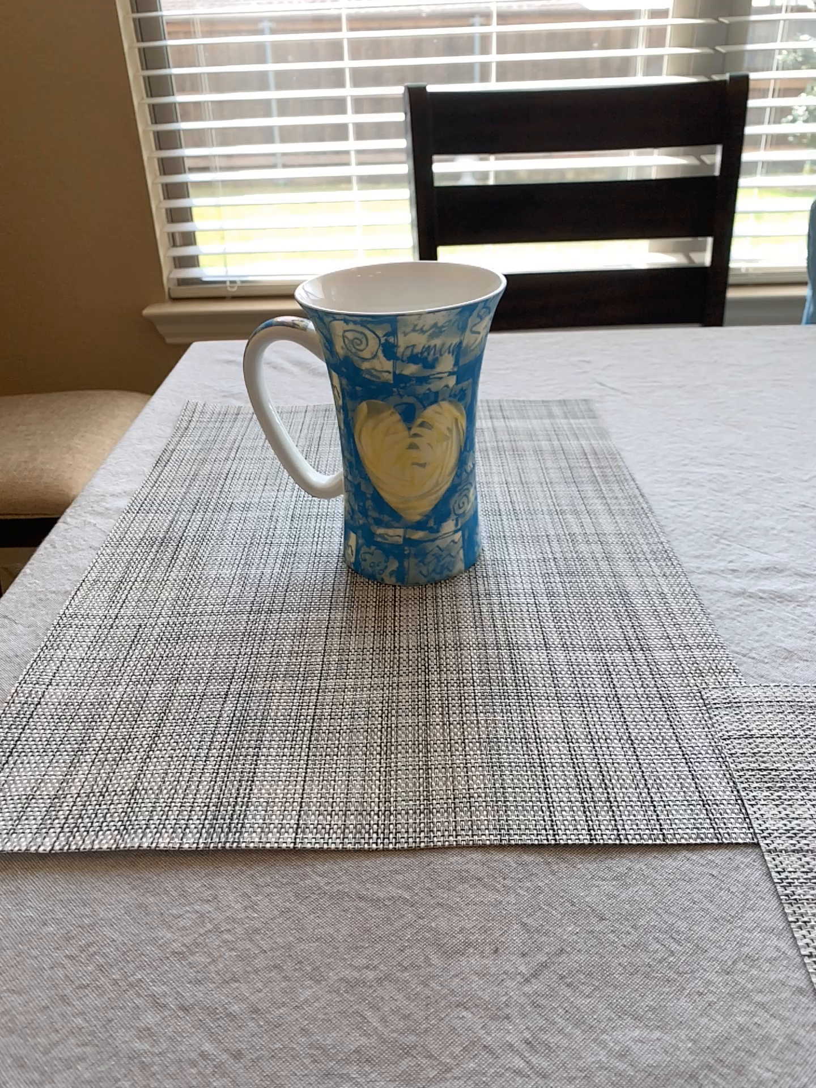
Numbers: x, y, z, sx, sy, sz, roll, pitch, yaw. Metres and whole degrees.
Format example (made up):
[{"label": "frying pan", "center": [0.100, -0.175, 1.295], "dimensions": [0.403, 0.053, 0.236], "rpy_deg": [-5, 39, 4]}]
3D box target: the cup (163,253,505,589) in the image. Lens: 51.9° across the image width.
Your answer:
[{"label": "cup", "center": [-0.028, -0.067, 0.450], "dimensions": [0.152, 0.148, 0.100], "rpy_deg": [0, 30, 5]}]
